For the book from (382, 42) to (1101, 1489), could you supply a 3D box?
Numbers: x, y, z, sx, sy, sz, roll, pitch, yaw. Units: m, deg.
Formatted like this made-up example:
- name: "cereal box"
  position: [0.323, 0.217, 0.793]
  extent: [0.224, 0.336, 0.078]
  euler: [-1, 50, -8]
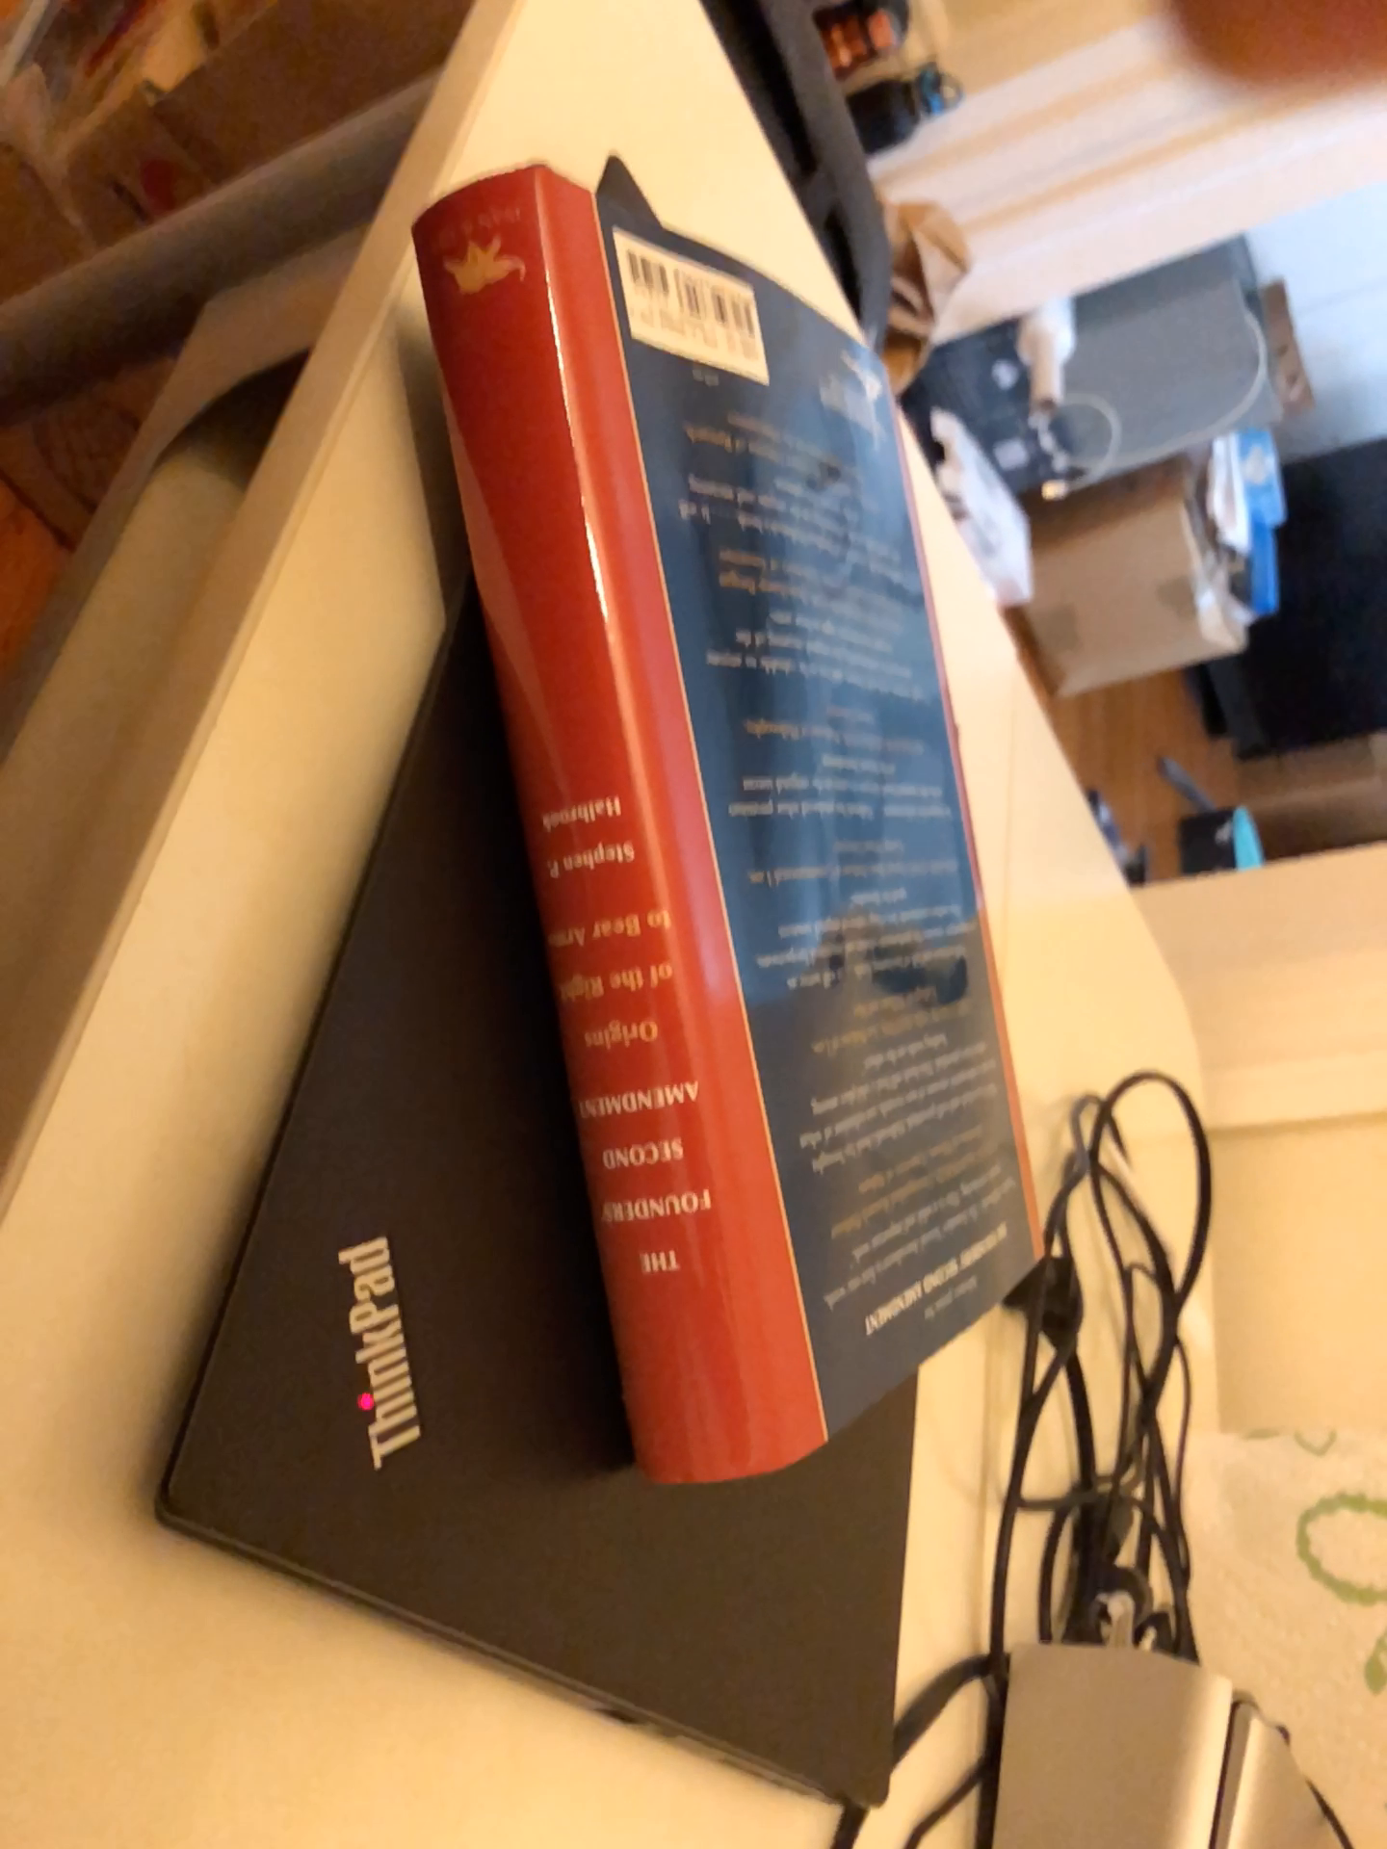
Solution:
- name: "book"
  position: [0.024, -0.029, 0.335]
  extent: [0.171, 0.040, 0.240]
  euler: [-5, 82, -63]
